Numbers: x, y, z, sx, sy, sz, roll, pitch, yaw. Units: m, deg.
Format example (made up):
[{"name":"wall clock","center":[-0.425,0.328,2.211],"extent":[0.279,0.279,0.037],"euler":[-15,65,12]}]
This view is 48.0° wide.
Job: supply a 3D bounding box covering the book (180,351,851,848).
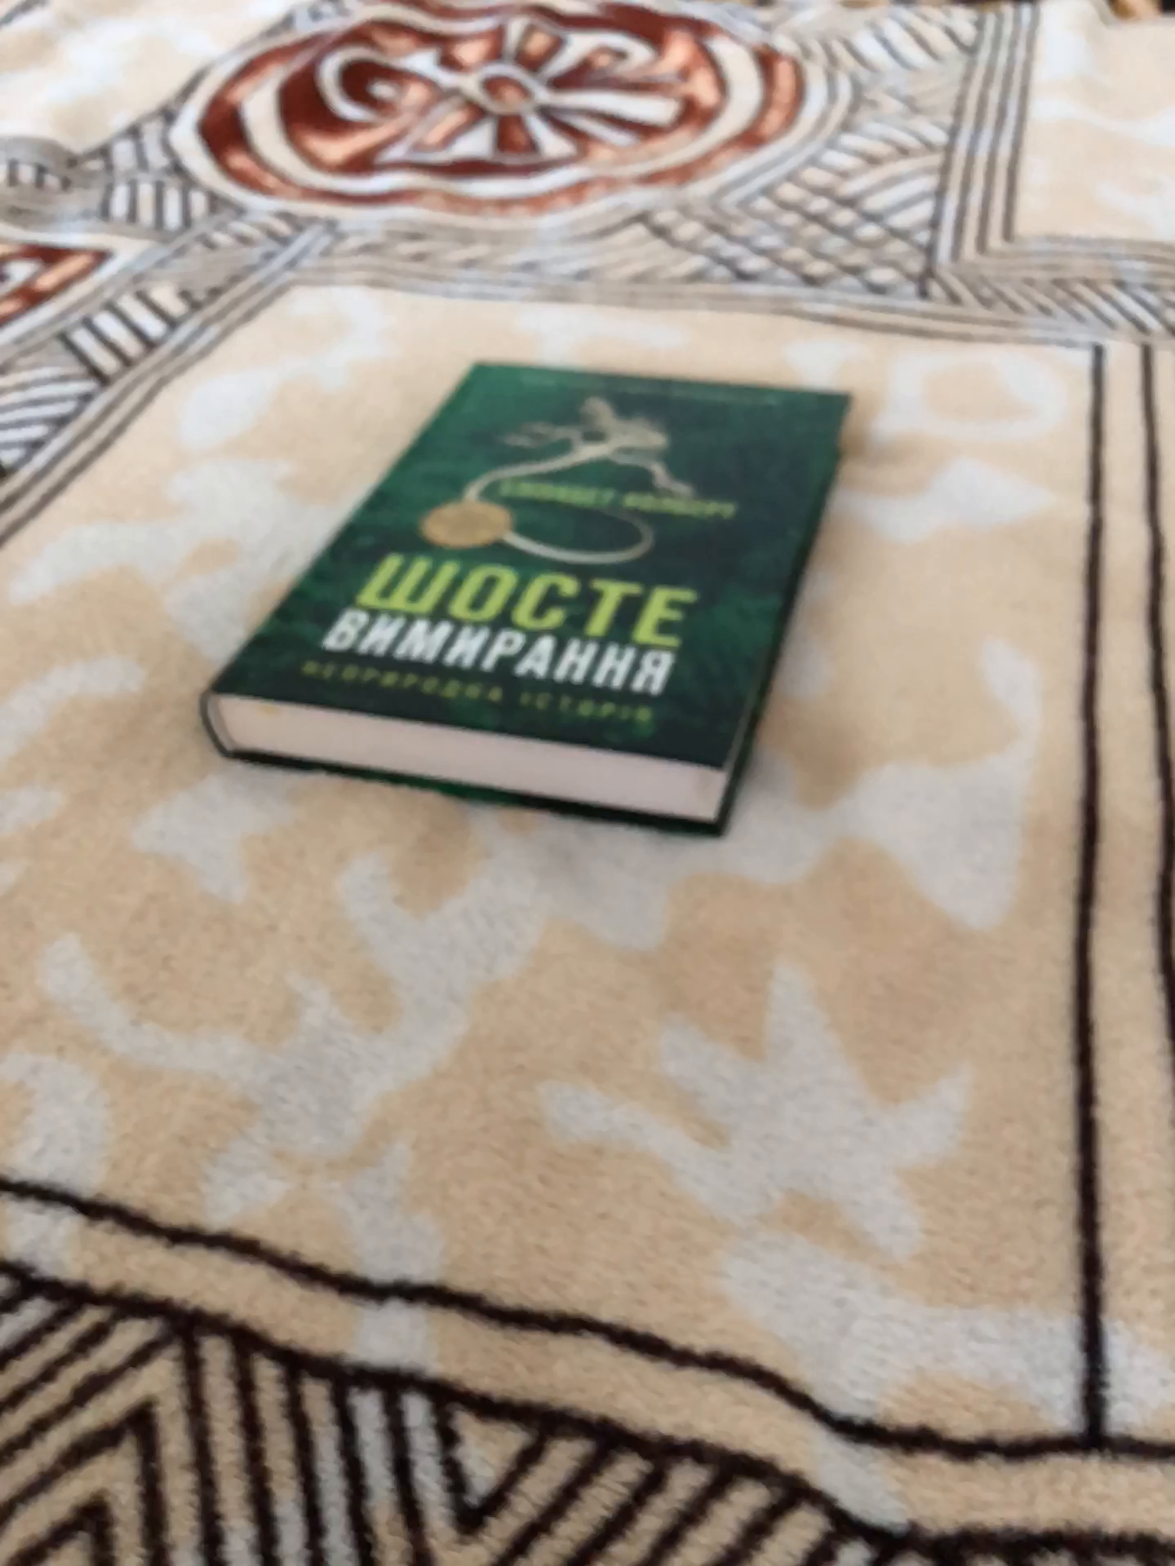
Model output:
[{"name":"book","center":[-0.007,-0.076,0.430],"extent":[0.150,0.030,0.221],"euler":[9,42,15]}]
